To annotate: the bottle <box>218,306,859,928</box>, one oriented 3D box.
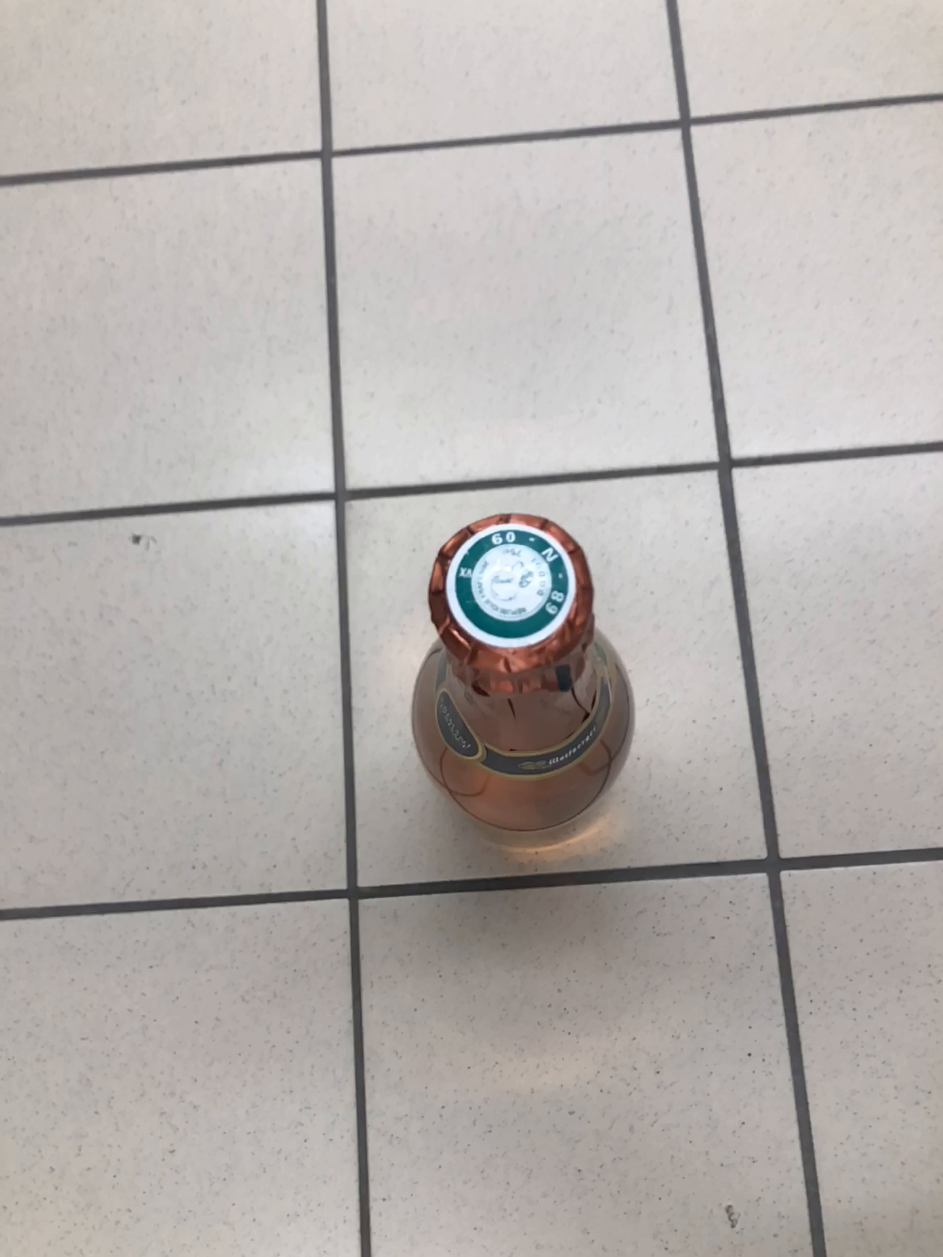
[{"bbox_3d":[0.020,0.028,0.358,0.090,0.310,0.090,-1,77,3],"label":"bottle"}]
